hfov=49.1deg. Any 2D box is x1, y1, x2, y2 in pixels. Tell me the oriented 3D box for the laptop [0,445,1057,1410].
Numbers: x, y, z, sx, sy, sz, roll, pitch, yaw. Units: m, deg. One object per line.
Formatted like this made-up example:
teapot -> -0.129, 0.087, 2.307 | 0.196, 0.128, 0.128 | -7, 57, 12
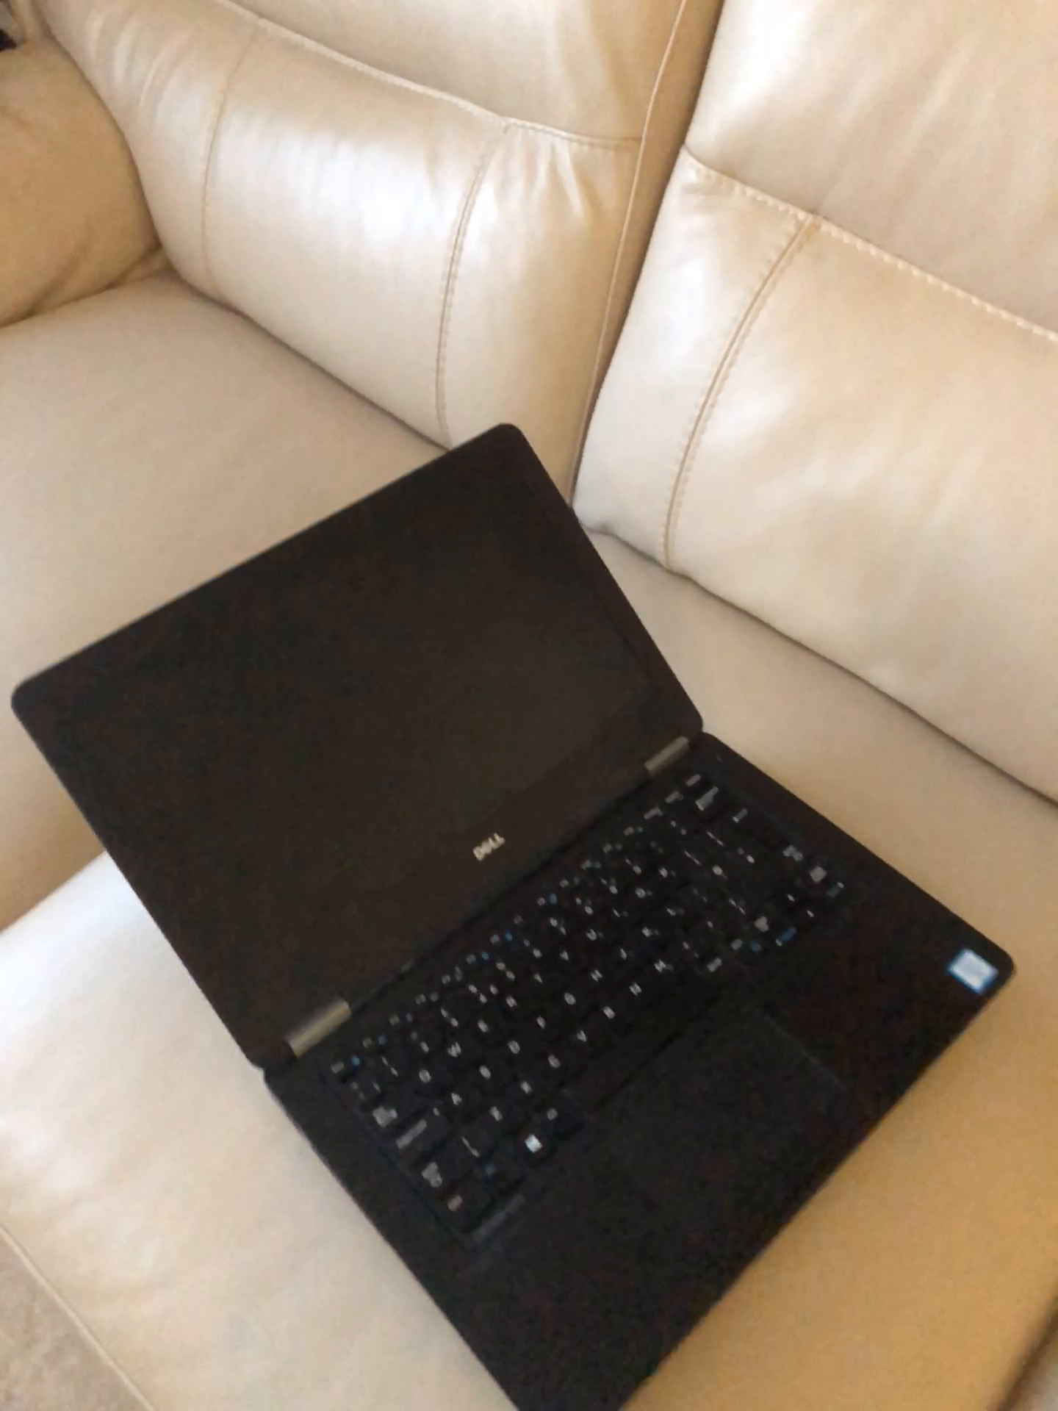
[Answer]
laptop -> -0.006, 0.062, 0.556 | 0.306, 0.124, 0.376 | -34, 54, -25
